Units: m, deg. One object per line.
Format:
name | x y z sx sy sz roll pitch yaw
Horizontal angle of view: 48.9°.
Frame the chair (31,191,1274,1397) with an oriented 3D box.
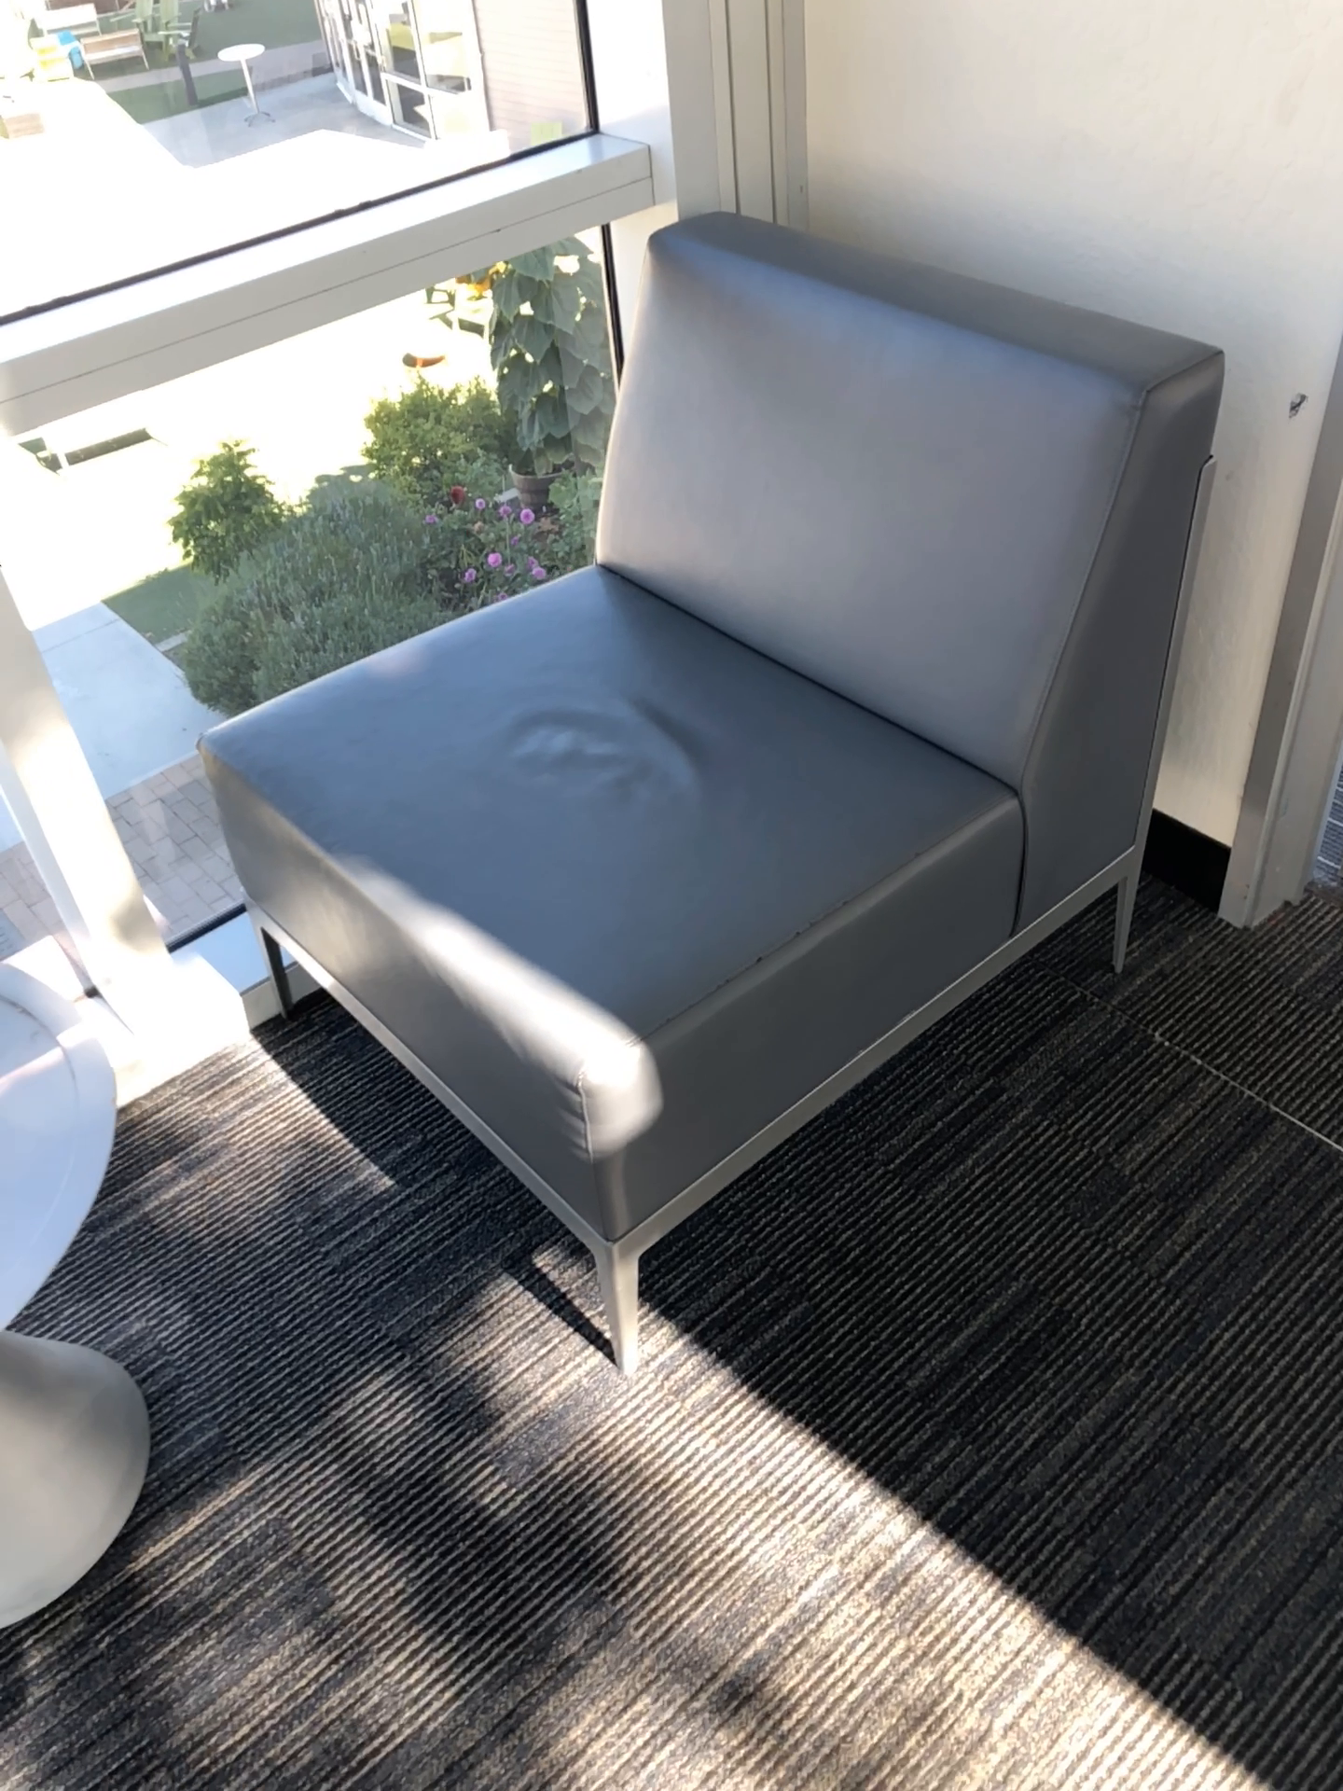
chair | -0.017 -0.174 1.492 0.751 0.706 0.773 -31 47 -26
